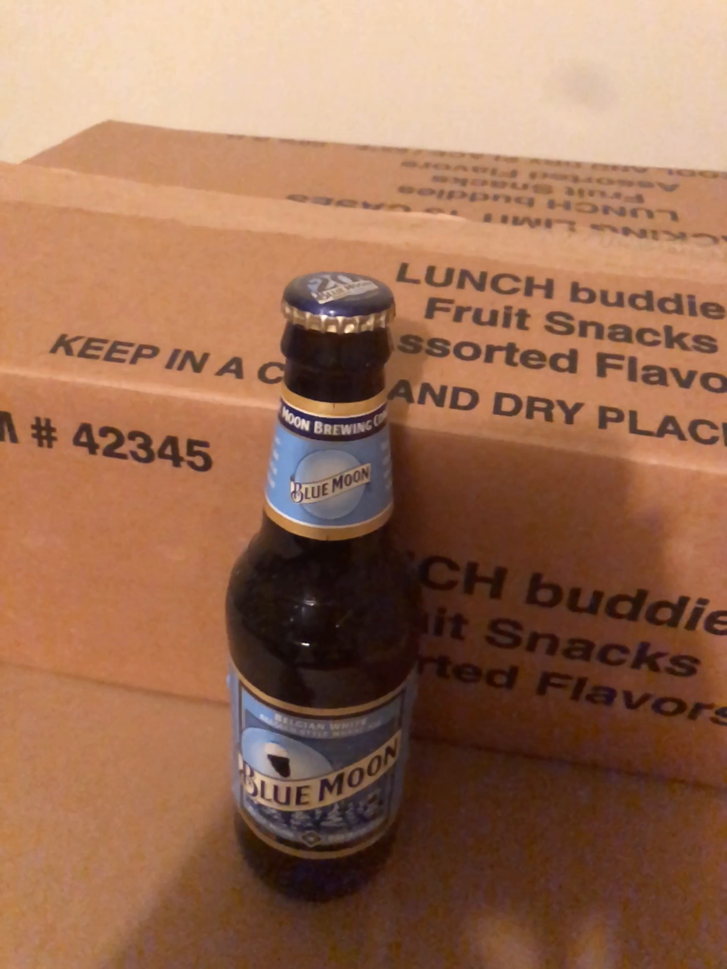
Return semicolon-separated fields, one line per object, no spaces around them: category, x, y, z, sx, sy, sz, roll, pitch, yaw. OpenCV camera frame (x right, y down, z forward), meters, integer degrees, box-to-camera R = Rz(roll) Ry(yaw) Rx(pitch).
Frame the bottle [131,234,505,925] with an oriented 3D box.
bottle;-0.010;0.043;0.237;0.070;0.209;0.060;4;36;3
